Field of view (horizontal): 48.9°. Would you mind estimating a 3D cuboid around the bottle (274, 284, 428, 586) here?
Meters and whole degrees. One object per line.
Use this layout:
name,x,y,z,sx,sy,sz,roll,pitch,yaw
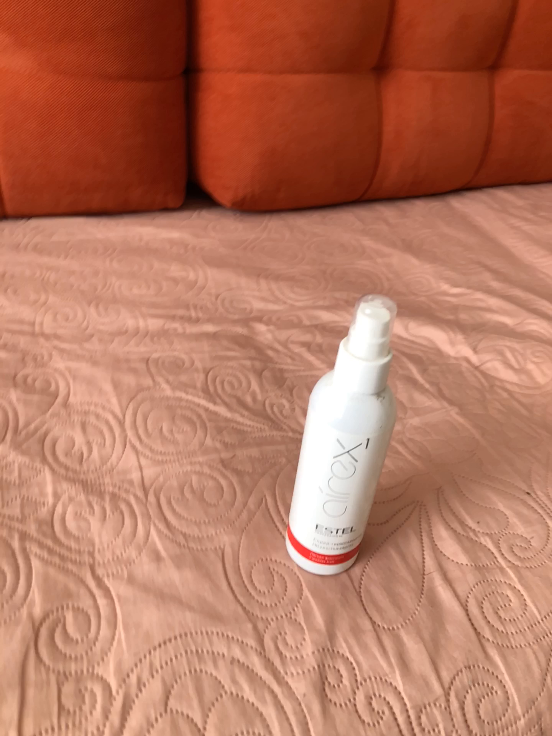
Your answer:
bottle,0.032,0.044,0.329,0.050,0.169,0.050,5,35,-3
